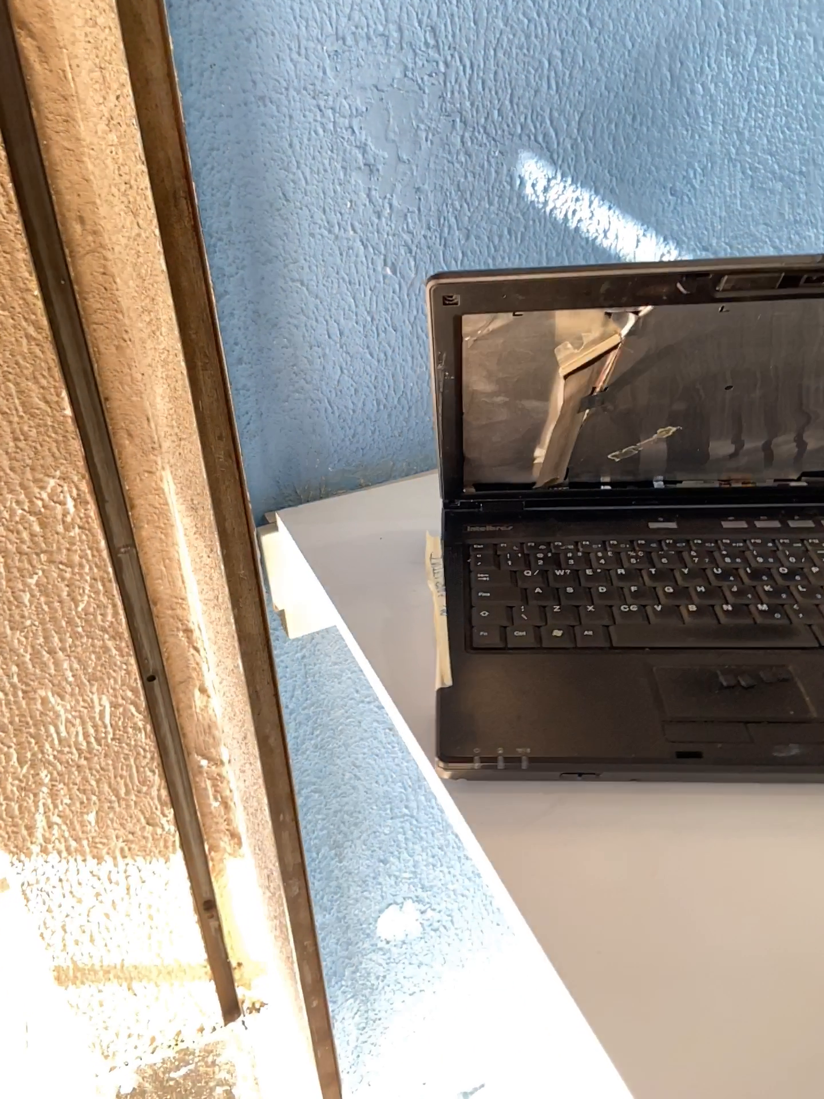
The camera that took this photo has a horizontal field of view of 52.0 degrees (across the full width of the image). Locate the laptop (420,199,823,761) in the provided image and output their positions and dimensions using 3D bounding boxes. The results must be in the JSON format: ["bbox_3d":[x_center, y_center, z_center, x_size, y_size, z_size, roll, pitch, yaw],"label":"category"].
[{"bbox_3d":[0.174,-0.050,0.425,0.322,0.191,0.232,-1,30,3],"label":"laptop"}]
